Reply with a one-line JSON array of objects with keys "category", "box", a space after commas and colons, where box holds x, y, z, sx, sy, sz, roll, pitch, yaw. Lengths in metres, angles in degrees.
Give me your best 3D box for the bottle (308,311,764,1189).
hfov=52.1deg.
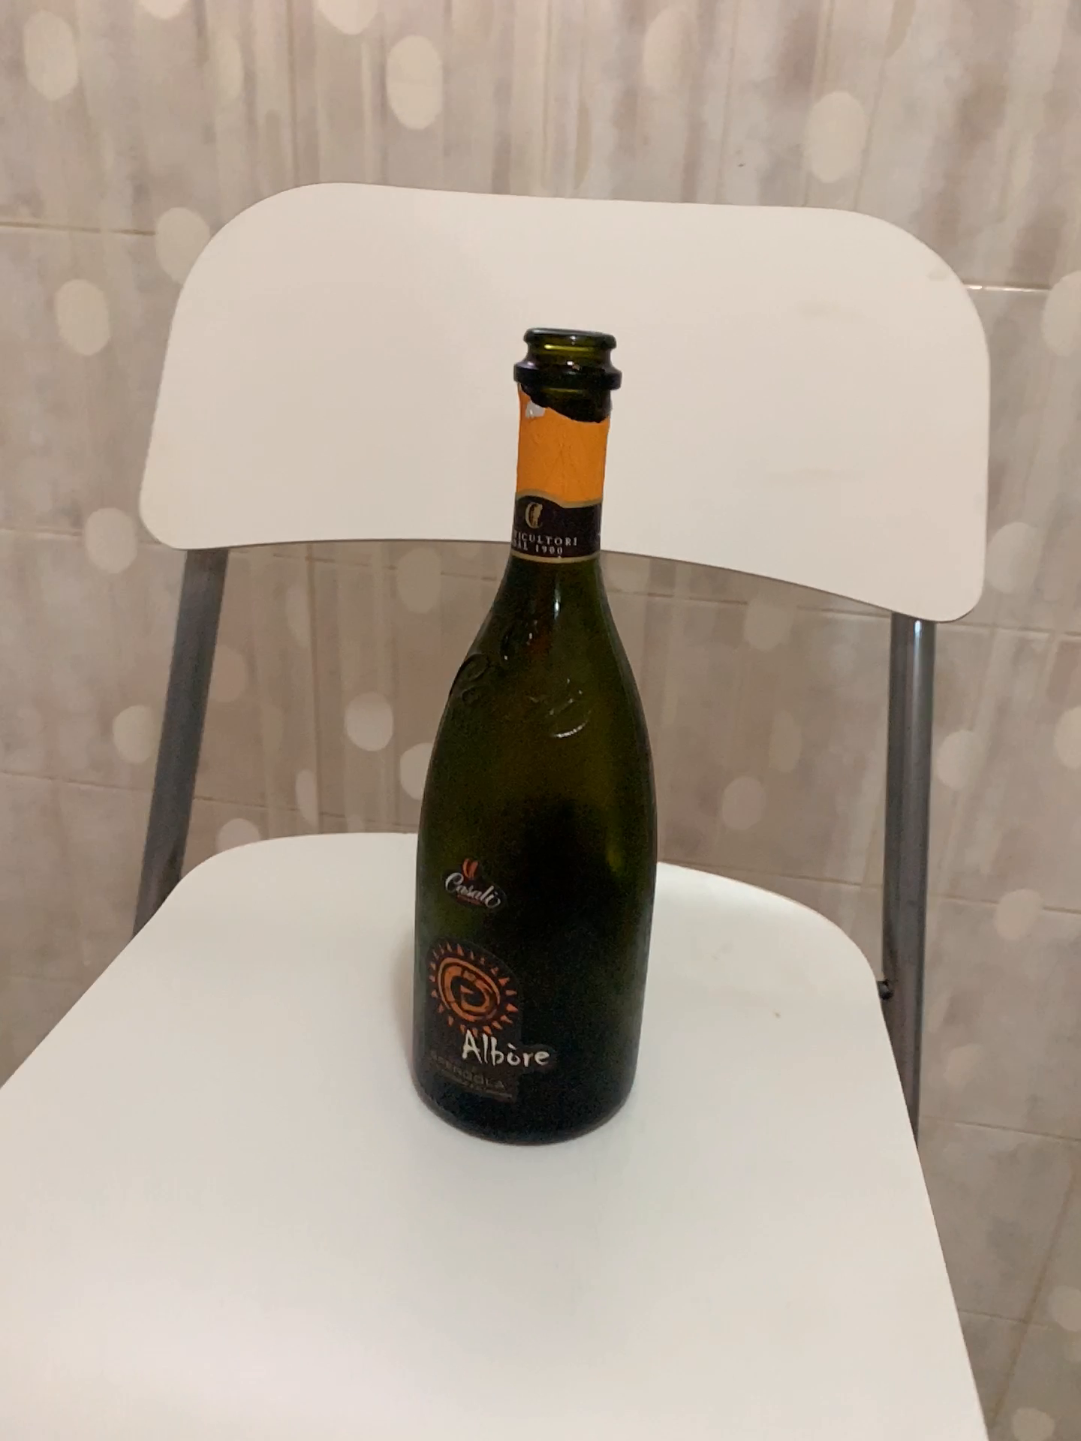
[{"category": "bottle", "box": [-0.005, 0.009, 0.380, 0.101, 0.269, 0.093, 2, 25, -1]}]
